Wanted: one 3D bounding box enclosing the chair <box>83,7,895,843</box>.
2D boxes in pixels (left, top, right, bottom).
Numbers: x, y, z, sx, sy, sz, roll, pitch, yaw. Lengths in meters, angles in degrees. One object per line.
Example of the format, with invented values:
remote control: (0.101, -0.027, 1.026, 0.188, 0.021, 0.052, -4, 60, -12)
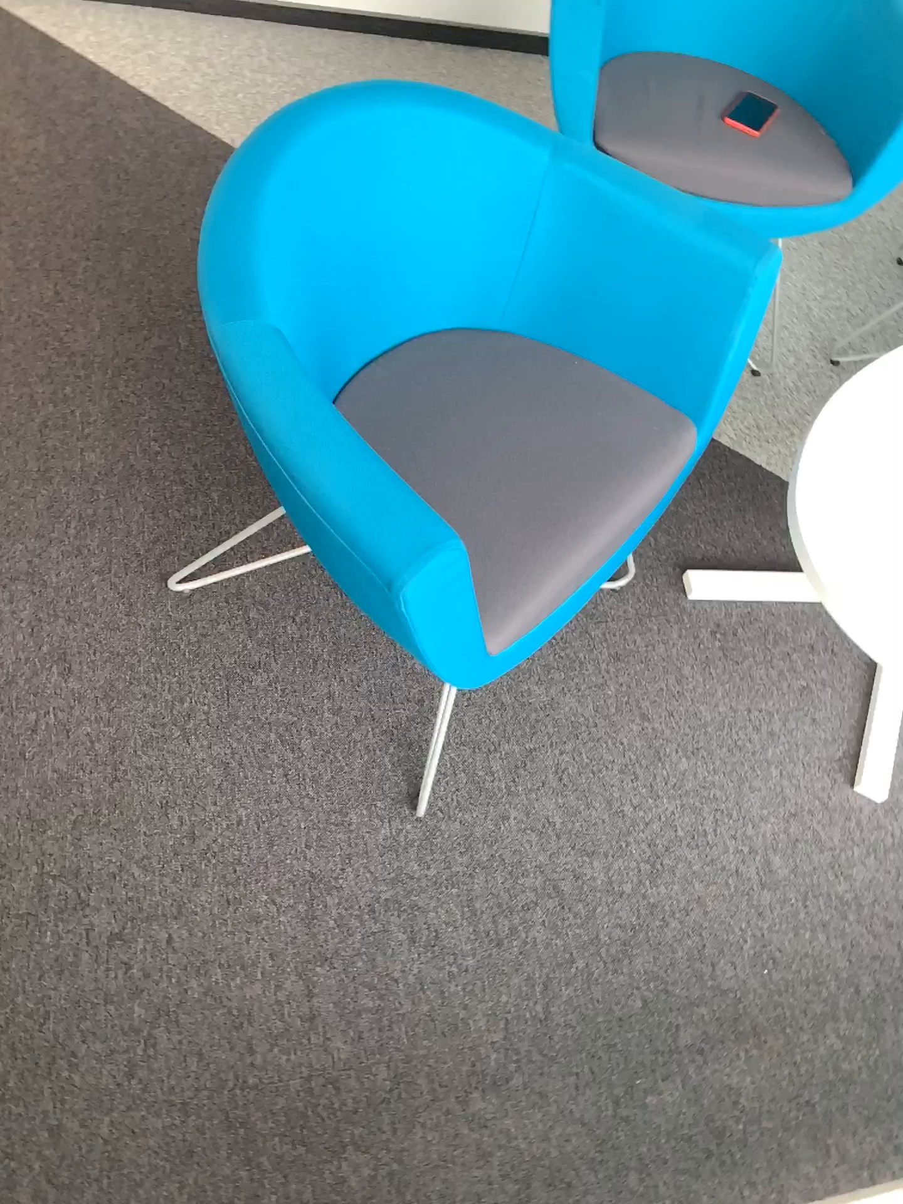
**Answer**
chair: (0.017, -0.230, 1.354, 0.640, 0.757, 0.713, 40, 58, 12)
